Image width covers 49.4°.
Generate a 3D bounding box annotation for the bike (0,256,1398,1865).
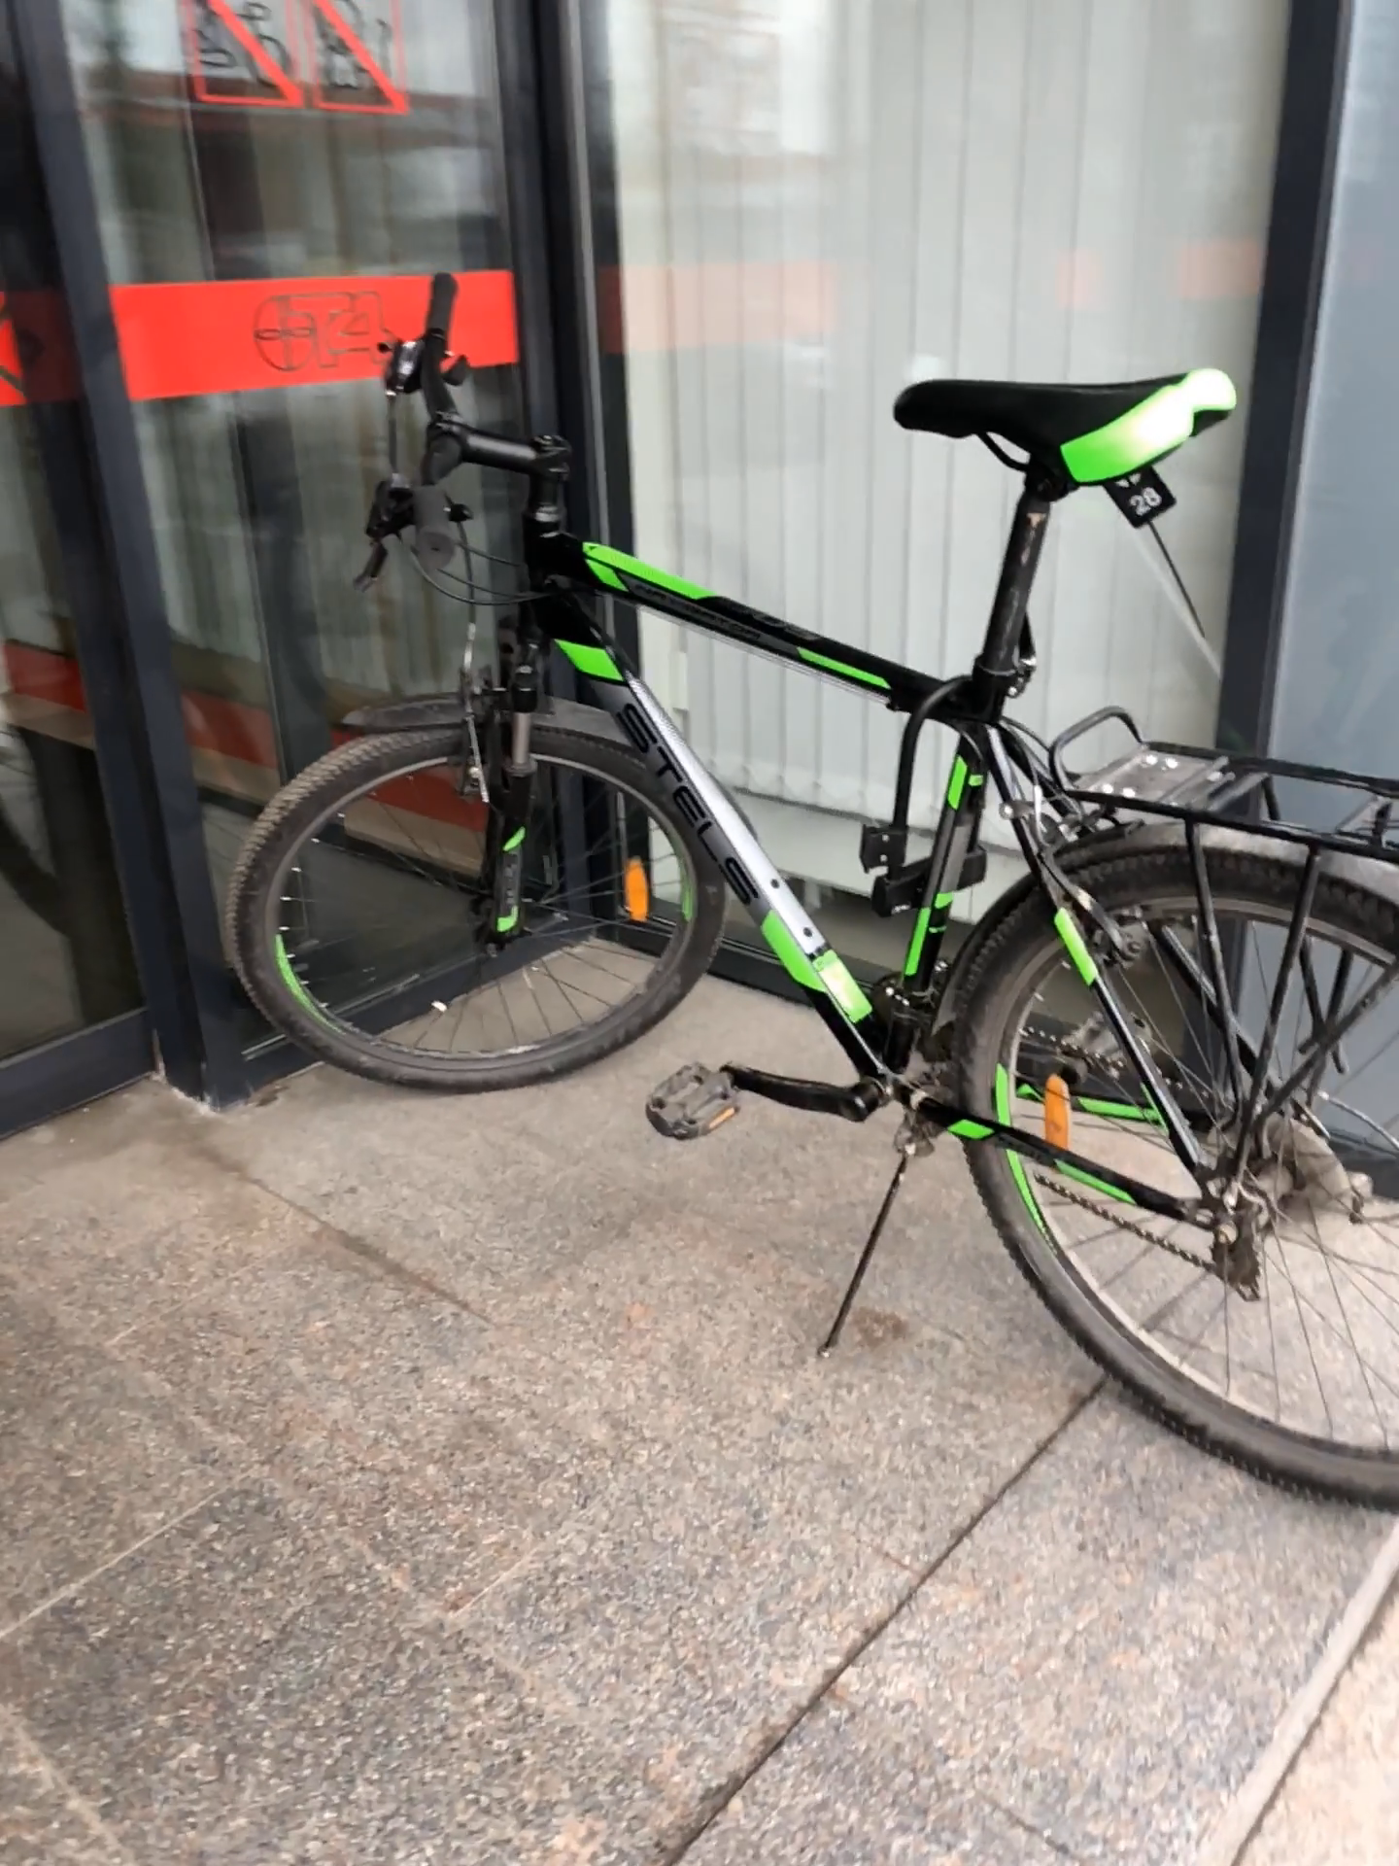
[{"bbox_3d":[0.041,-0.026,1.436,1.547,1.052,0.630,13,27,31],"label":"bike"}]
